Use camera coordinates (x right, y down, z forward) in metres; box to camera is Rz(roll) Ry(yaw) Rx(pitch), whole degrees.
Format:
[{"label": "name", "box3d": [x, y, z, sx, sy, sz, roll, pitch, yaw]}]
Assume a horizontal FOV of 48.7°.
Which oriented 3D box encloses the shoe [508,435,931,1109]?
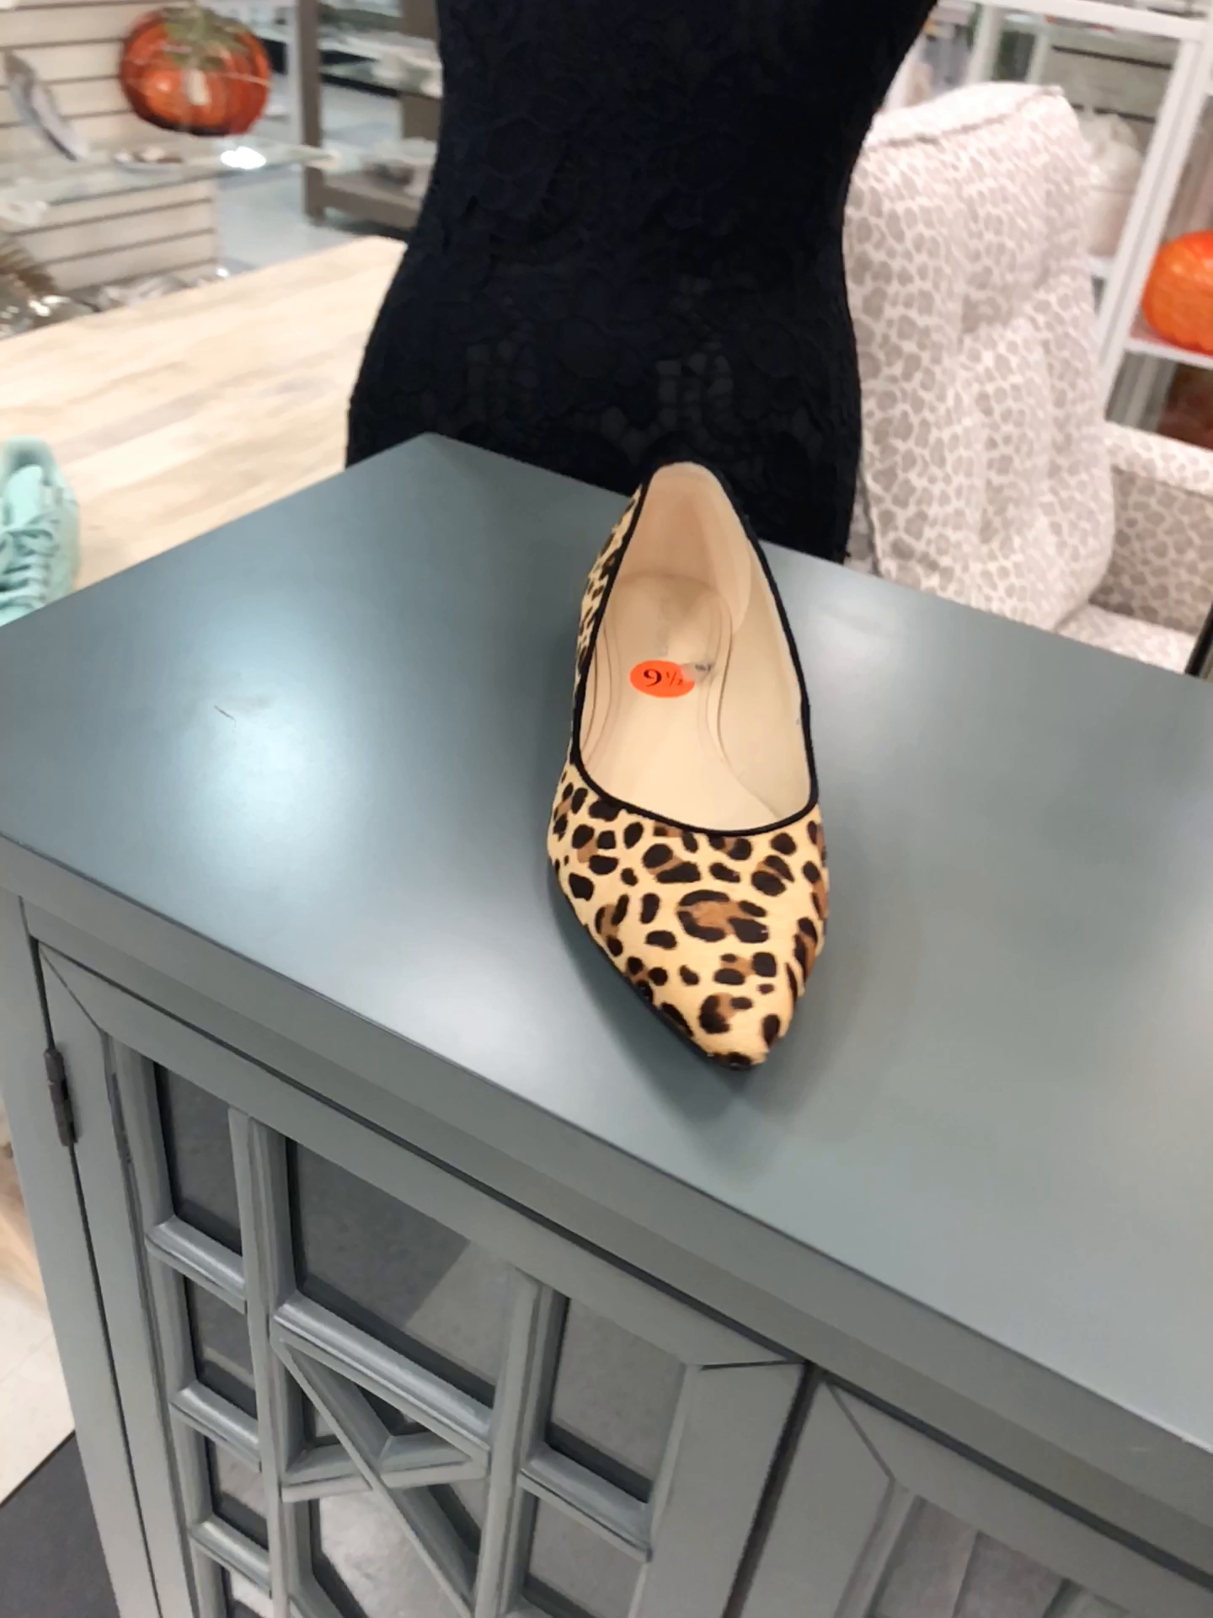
[{"label": "shoe", "box3d": [0.021, -0.036, 0.452, 0.097, 0.073, 0.287, 3, 35, -5]}]
